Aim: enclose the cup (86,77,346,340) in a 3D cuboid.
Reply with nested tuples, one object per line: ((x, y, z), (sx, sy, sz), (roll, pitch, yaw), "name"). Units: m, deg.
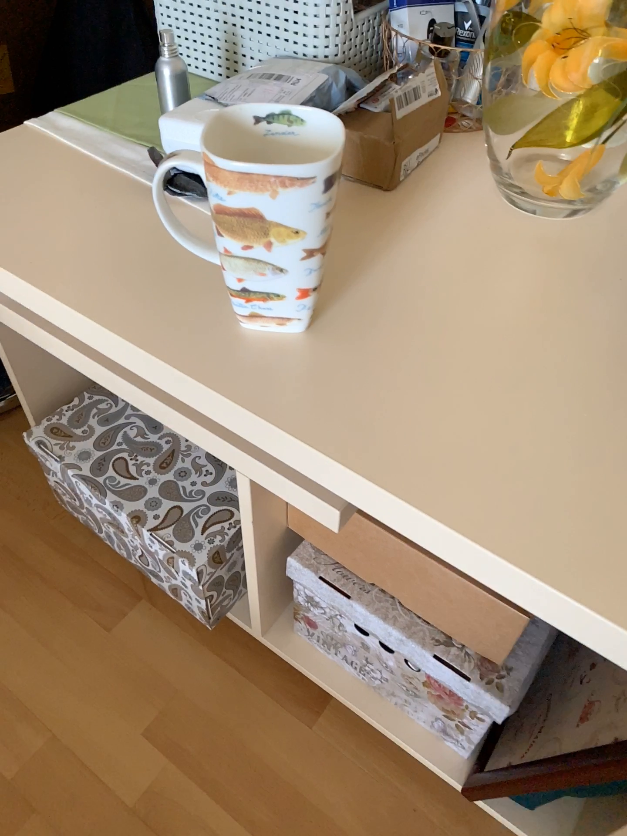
((-0.057, -0.144, 0.445), (0.140, 0.129, 0.101), (7, 47, 4), "cup")
